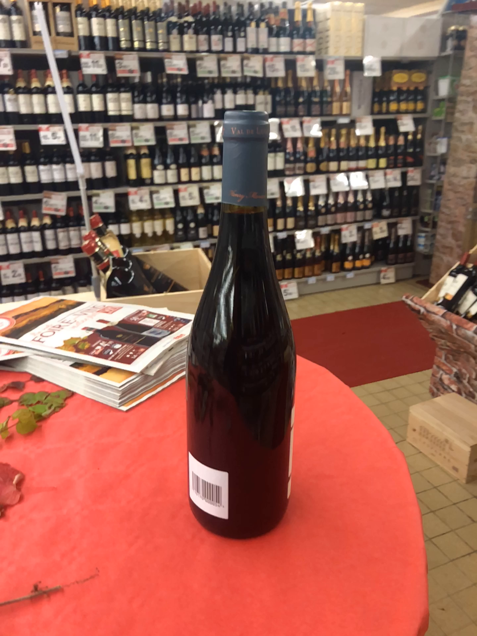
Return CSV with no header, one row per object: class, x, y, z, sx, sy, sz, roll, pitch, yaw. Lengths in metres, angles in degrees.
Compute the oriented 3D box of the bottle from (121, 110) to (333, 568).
bottle,-0.005,0.011,0.365,0.090,0.289,0.090,-1,20,0
